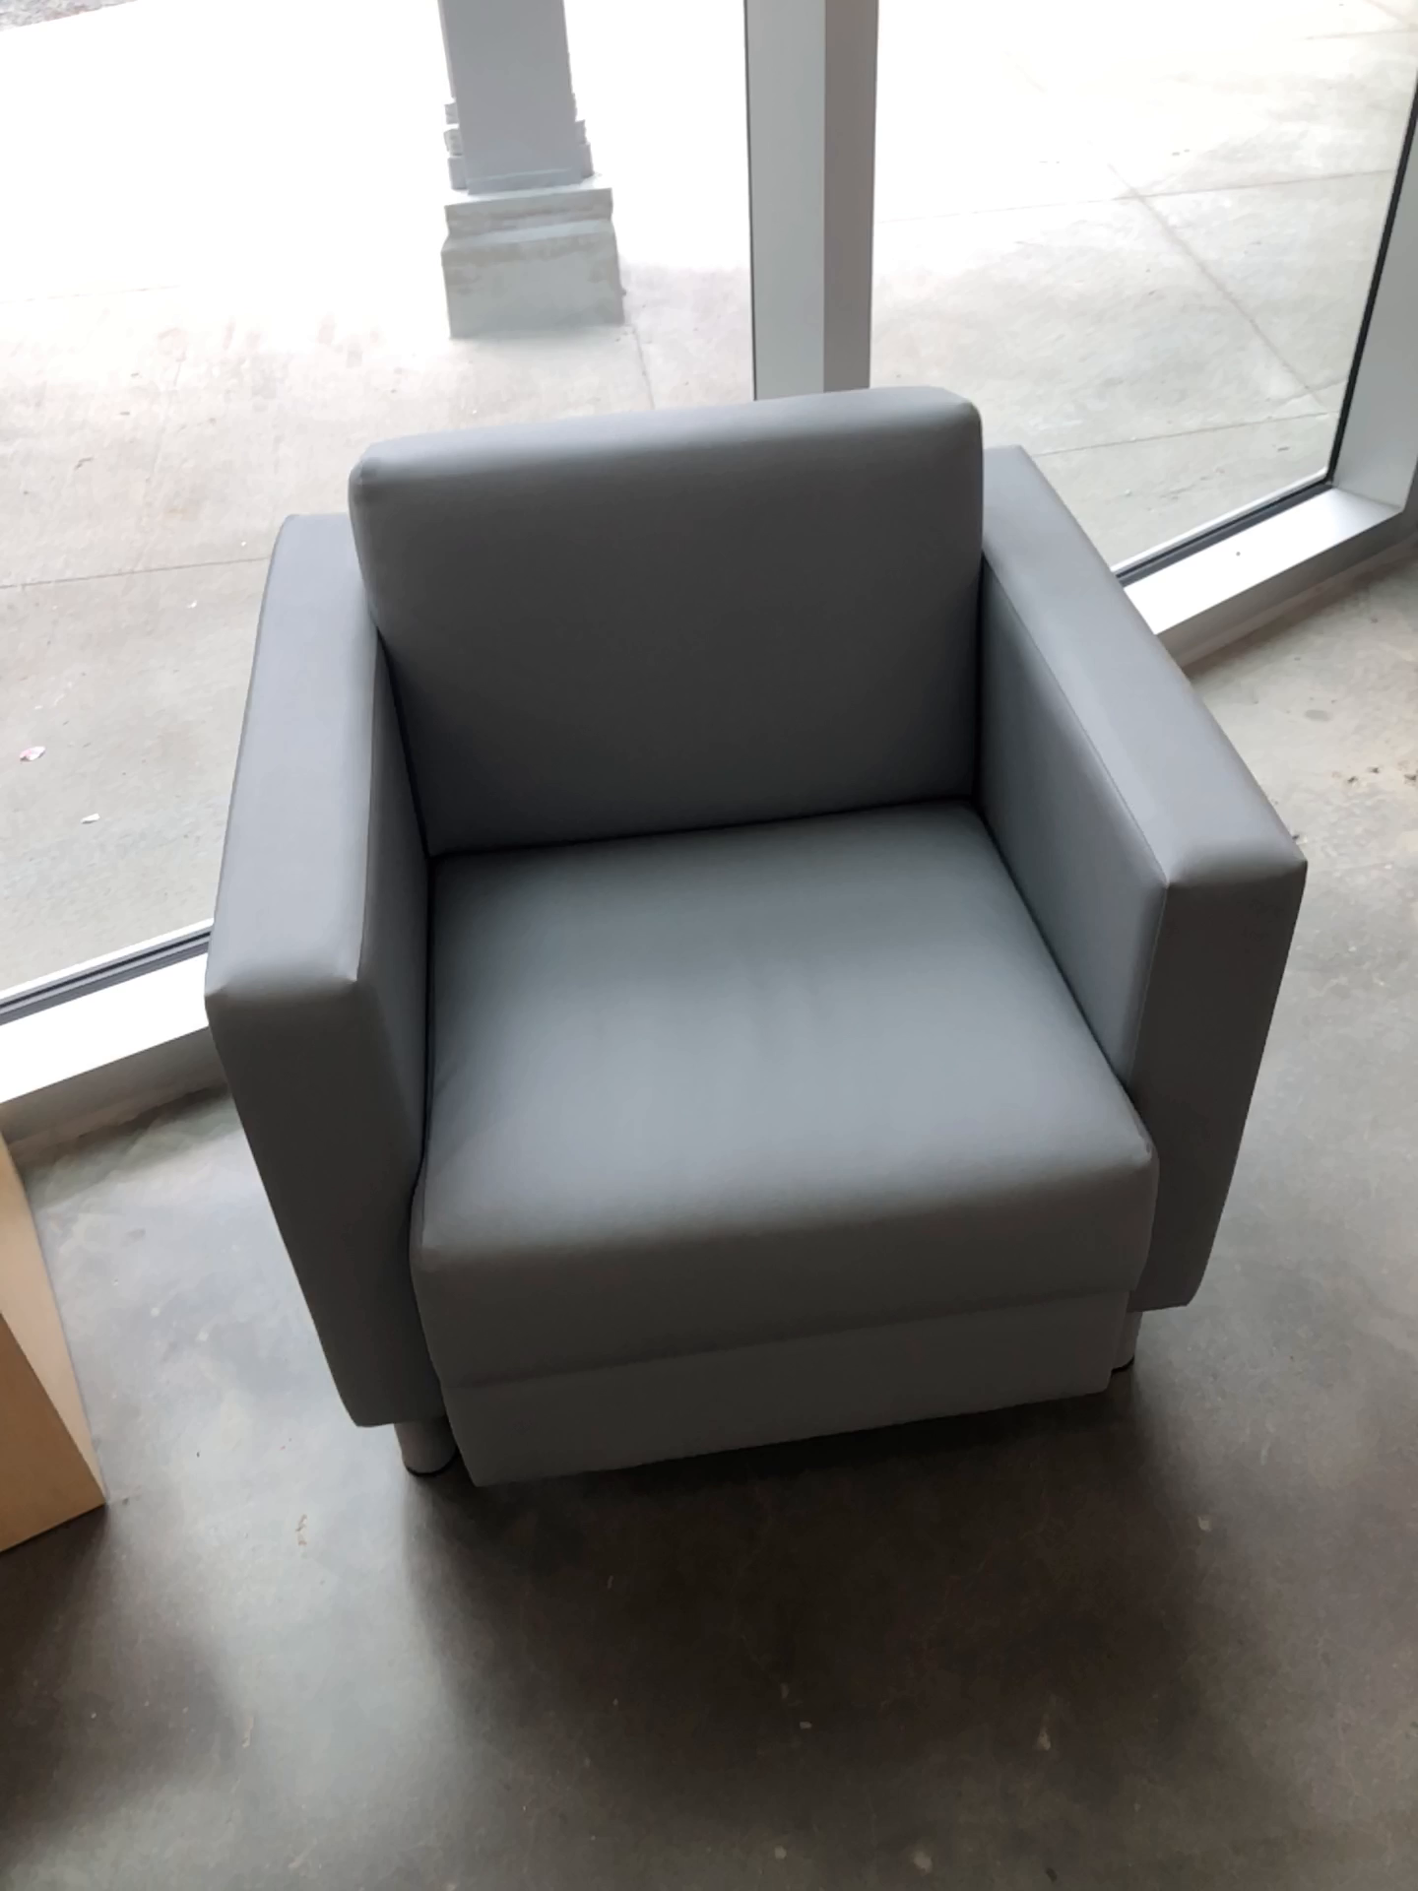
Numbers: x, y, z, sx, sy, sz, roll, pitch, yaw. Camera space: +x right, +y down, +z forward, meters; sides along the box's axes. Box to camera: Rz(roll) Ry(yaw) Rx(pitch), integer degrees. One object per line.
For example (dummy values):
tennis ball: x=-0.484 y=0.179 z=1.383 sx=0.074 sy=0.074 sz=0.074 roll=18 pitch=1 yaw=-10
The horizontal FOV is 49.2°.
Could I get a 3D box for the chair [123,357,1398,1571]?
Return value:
chair: x=0.001 y=-0.019 z=1.444 sx=0.770 sy=0.695 sz=0.785 roll=-7 pitch=42 yaw=-5
